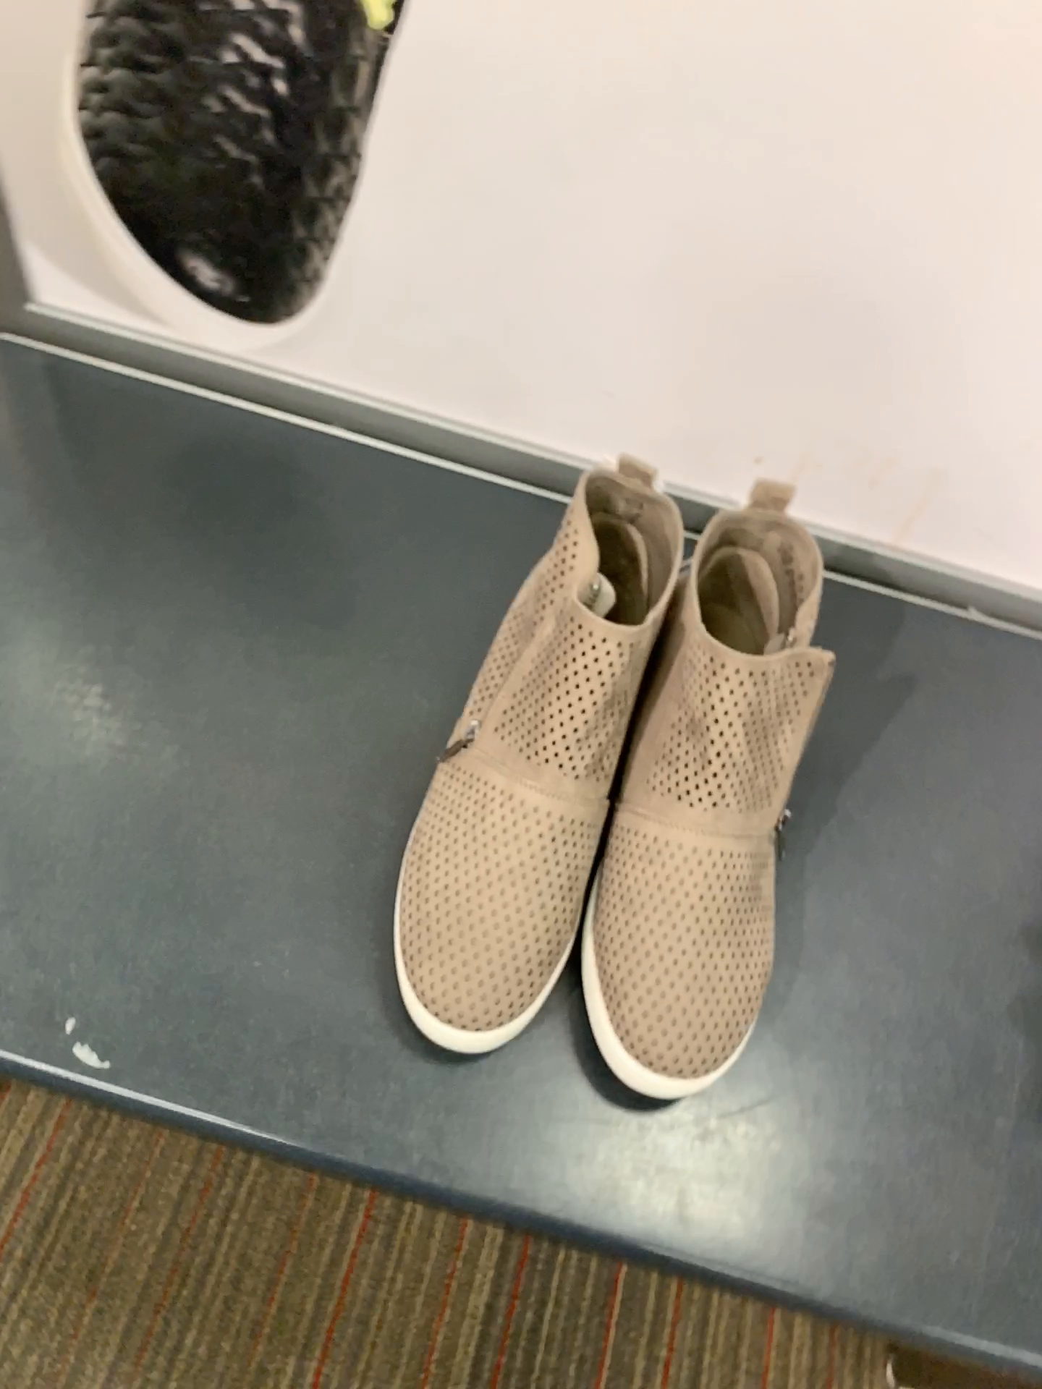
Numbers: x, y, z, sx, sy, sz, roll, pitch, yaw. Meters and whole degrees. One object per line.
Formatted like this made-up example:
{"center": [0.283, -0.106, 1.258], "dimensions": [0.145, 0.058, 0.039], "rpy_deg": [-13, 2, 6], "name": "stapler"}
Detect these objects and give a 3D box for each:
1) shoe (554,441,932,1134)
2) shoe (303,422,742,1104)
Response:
{"center": [0.089, 0.039, 0.470], "dimensions": [0.100, 0.140, 0.251], "rpy_deg": [11, 58, -3], "name": "shoe"}
{"center": [0.004, 0.027, 0.483], "dimensions": [0.100, 0.140, 0.251], "rpy_deg": [20, 58, 3], "name": "shoe"}
